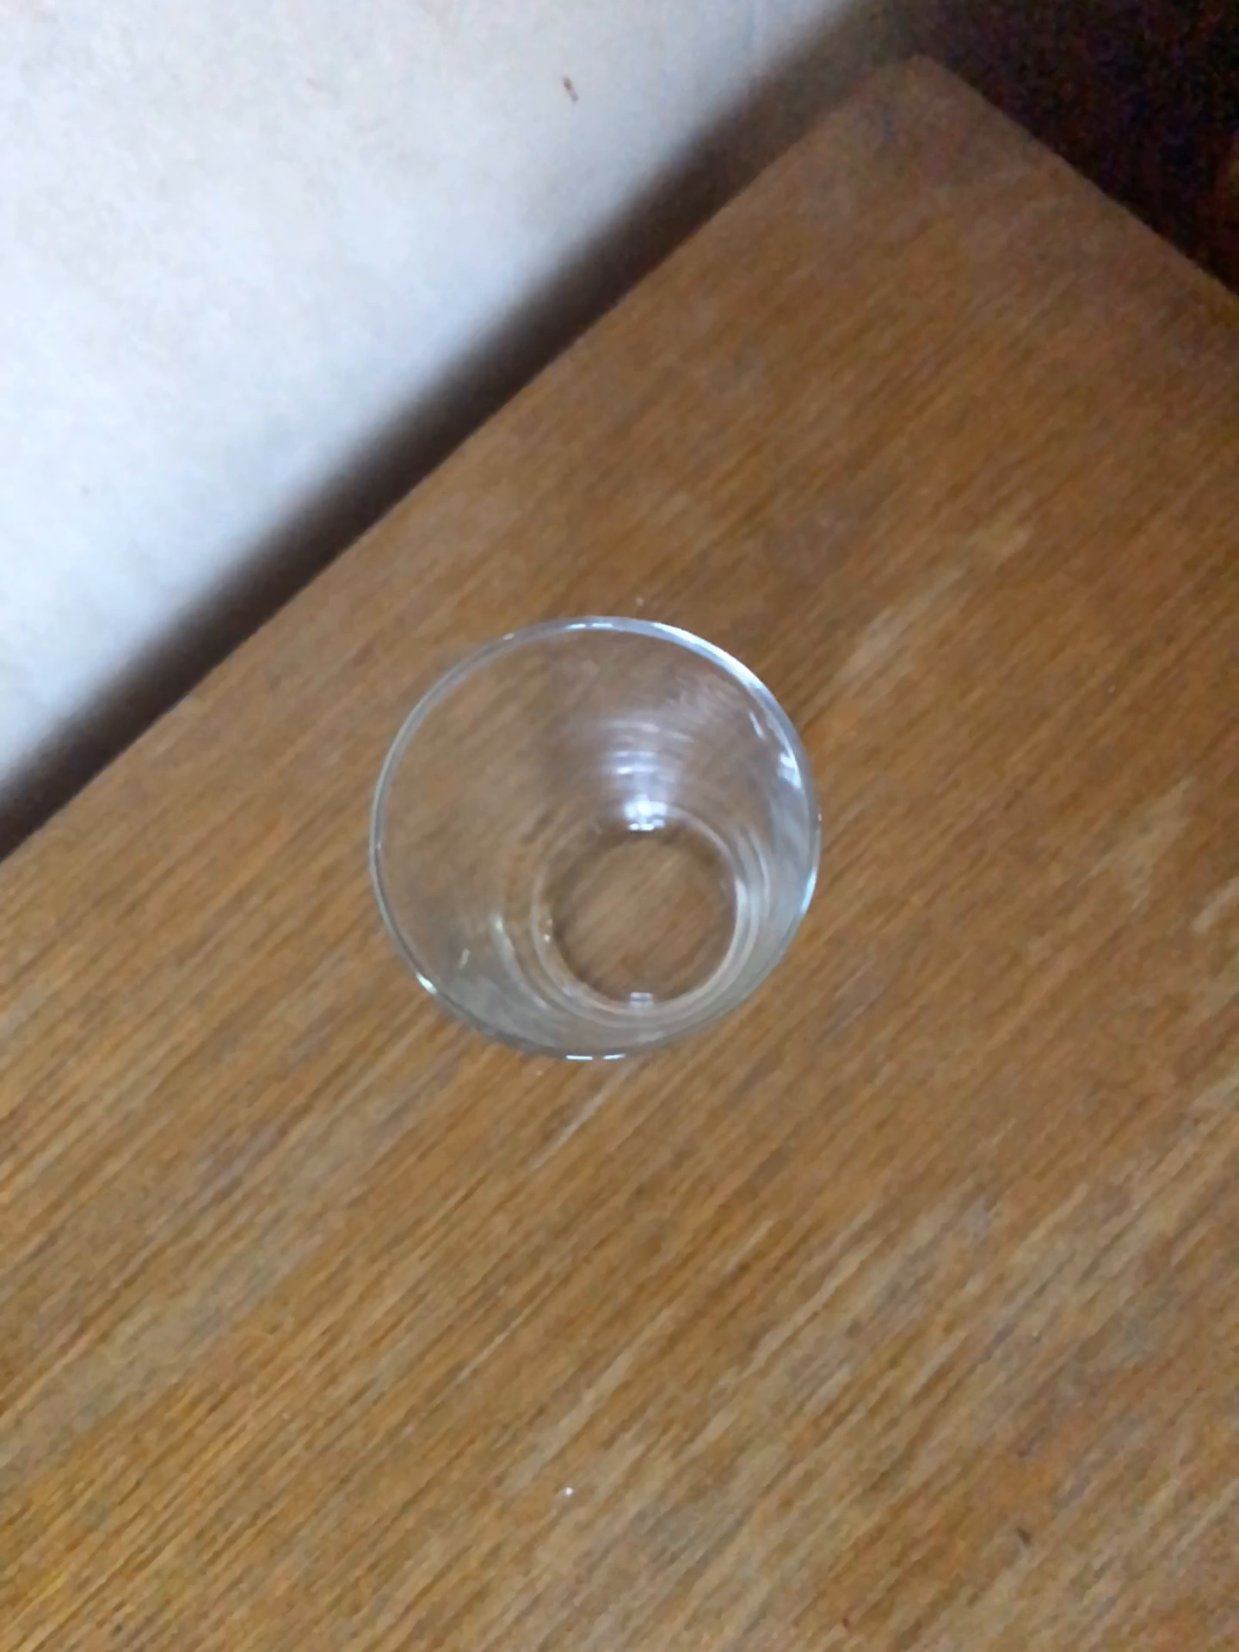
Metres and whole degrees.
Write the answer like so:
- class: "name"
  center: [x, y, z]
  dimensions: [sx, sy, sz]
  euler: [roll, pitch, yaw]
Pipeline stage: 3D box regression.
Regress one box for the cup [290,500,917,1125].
- class: "cup"
  center: [0.001, 0.003, 0.245]
  dimensions: [0.070, 0.080, 0.070]
  euler: [-1, 75, 5]
